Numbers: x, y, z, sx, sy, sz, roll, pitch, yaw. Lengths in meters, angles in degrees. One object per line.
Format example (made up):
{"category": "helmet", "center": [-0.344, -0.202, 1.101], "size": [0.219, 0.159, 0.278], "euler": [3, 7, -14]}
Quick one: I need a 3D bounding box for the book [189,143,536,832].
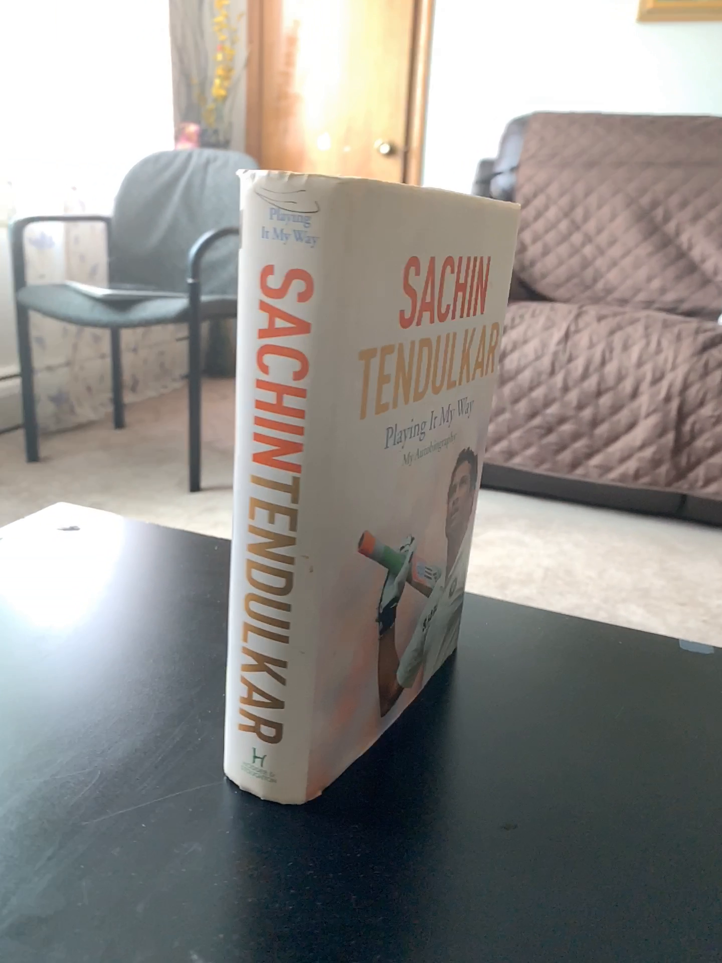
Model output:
{"category": "book", "center": [0.007, -0.009, 0.330], "size": [0.060, 0.239, 0.171], "euler": [13, 21, 27]}
